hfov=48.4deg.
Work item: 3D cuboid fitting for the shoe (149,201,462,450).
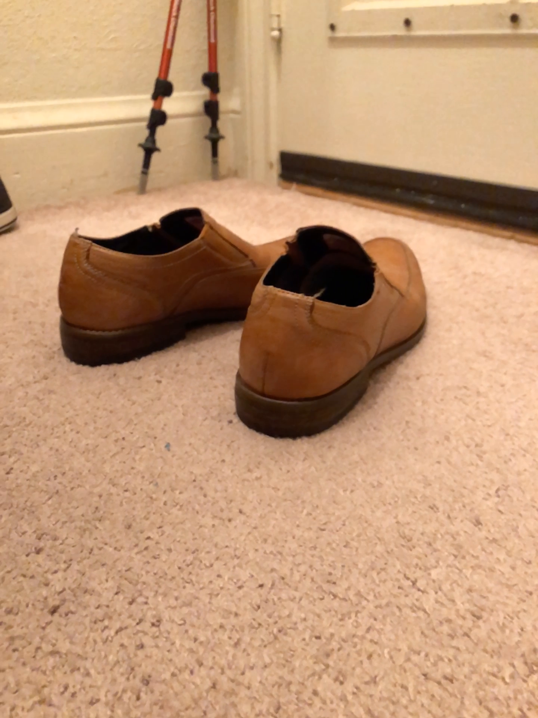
[{"bbox_3d":[0.052,-0.054,0.477,0.107,0.089,0.312,15,28,27],"label":"shoe"}]

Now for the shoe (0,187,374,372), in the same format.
[{"bbox_3d":[-0.054,-0.088,0.539,0.321,0.090,0.100,-18,32,-37],"label":"shoe"}]
